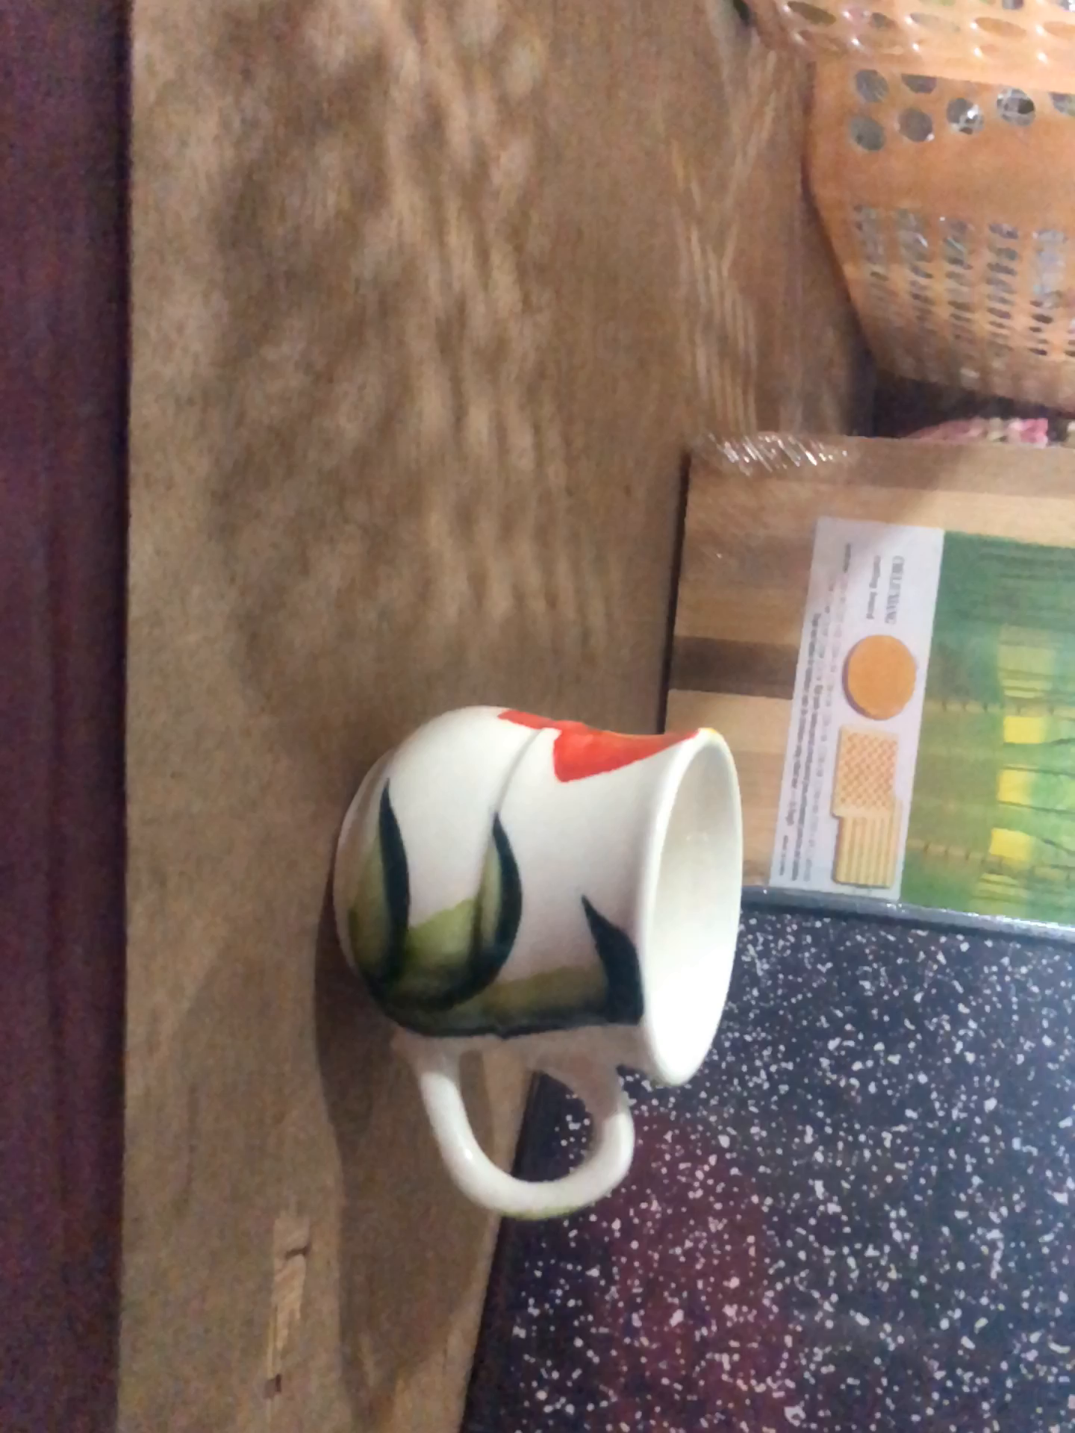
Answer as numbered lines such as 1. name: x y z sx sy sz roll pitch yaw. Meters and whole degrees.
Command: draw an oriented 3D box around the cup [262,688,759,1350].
1. cup: -0.001 0.044 0.207 0.060 0.060 0.090 14 80 -67
